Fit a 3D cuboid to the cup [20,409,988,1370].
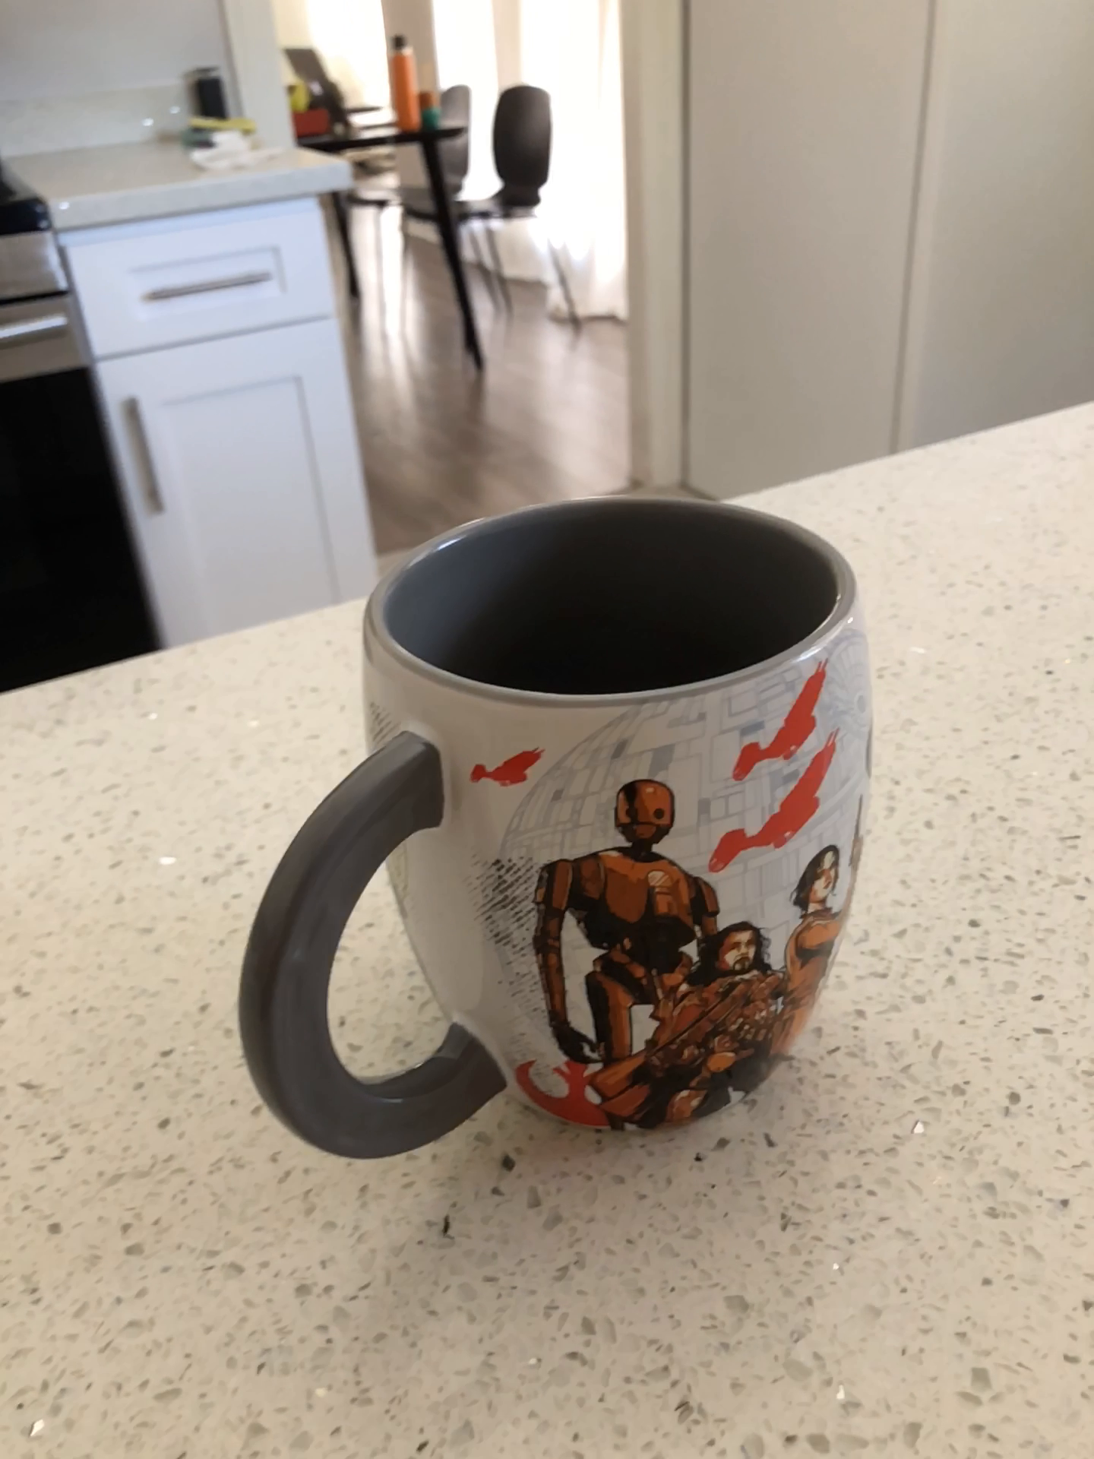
[{"bbox_3d":[0.001,0.012,0.238,0.100,0.100,0.140,22,39,37],"label":"cup"}]
